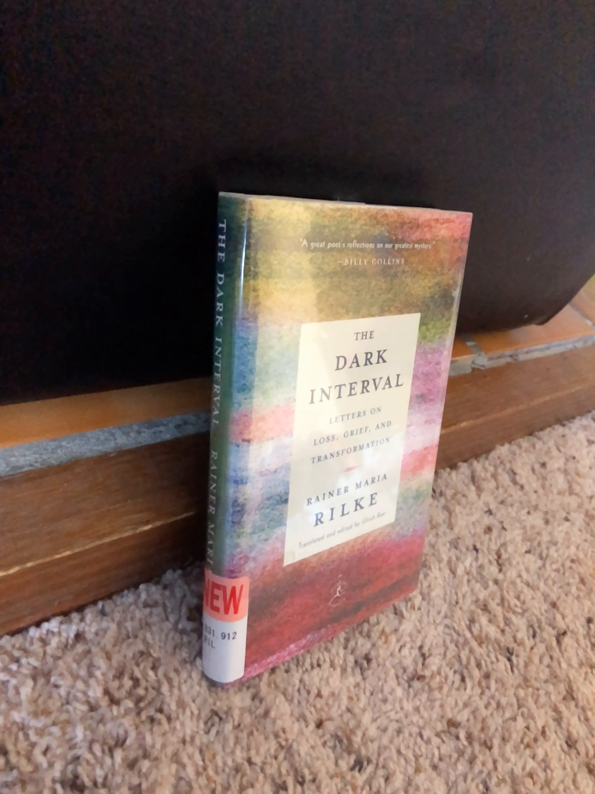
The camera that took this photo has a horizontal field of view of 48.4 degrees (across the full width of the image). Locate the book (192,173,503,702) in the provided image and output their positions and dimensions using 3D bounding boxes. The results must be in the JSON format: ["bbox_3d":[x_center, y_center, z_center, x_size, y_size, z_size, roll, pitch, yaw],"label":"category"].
[{"bbox_3d":[0.024,0.012,0.281,0.136,0.190,0.030,-10,22,-43],"label":"book"}]
